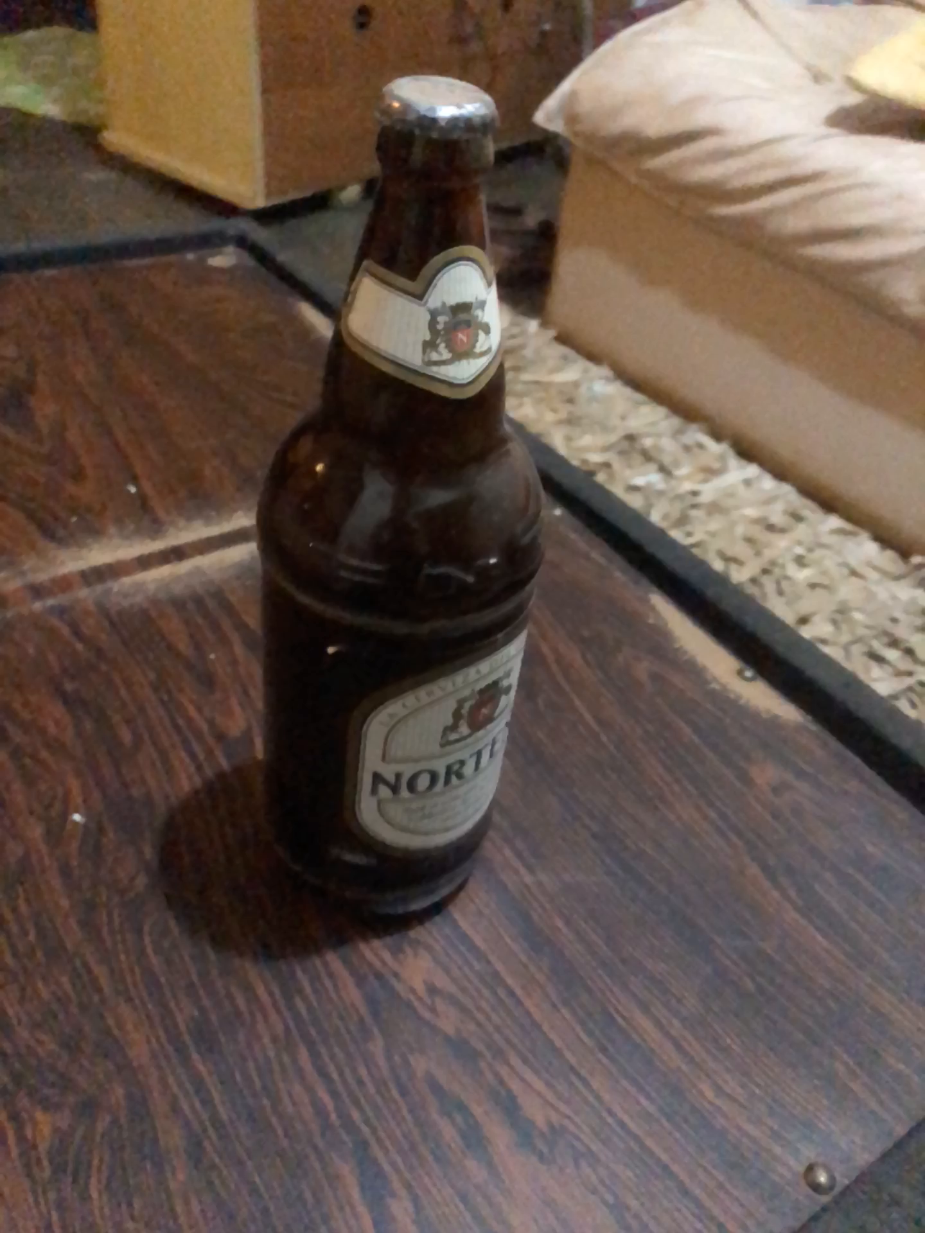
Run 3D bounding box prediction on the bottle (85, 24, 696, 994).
[{"bbox_3d":[-0.027,-0.020,0.322,0.100,0.268,0.101,4,39,-3],"label":"bottle"}]
